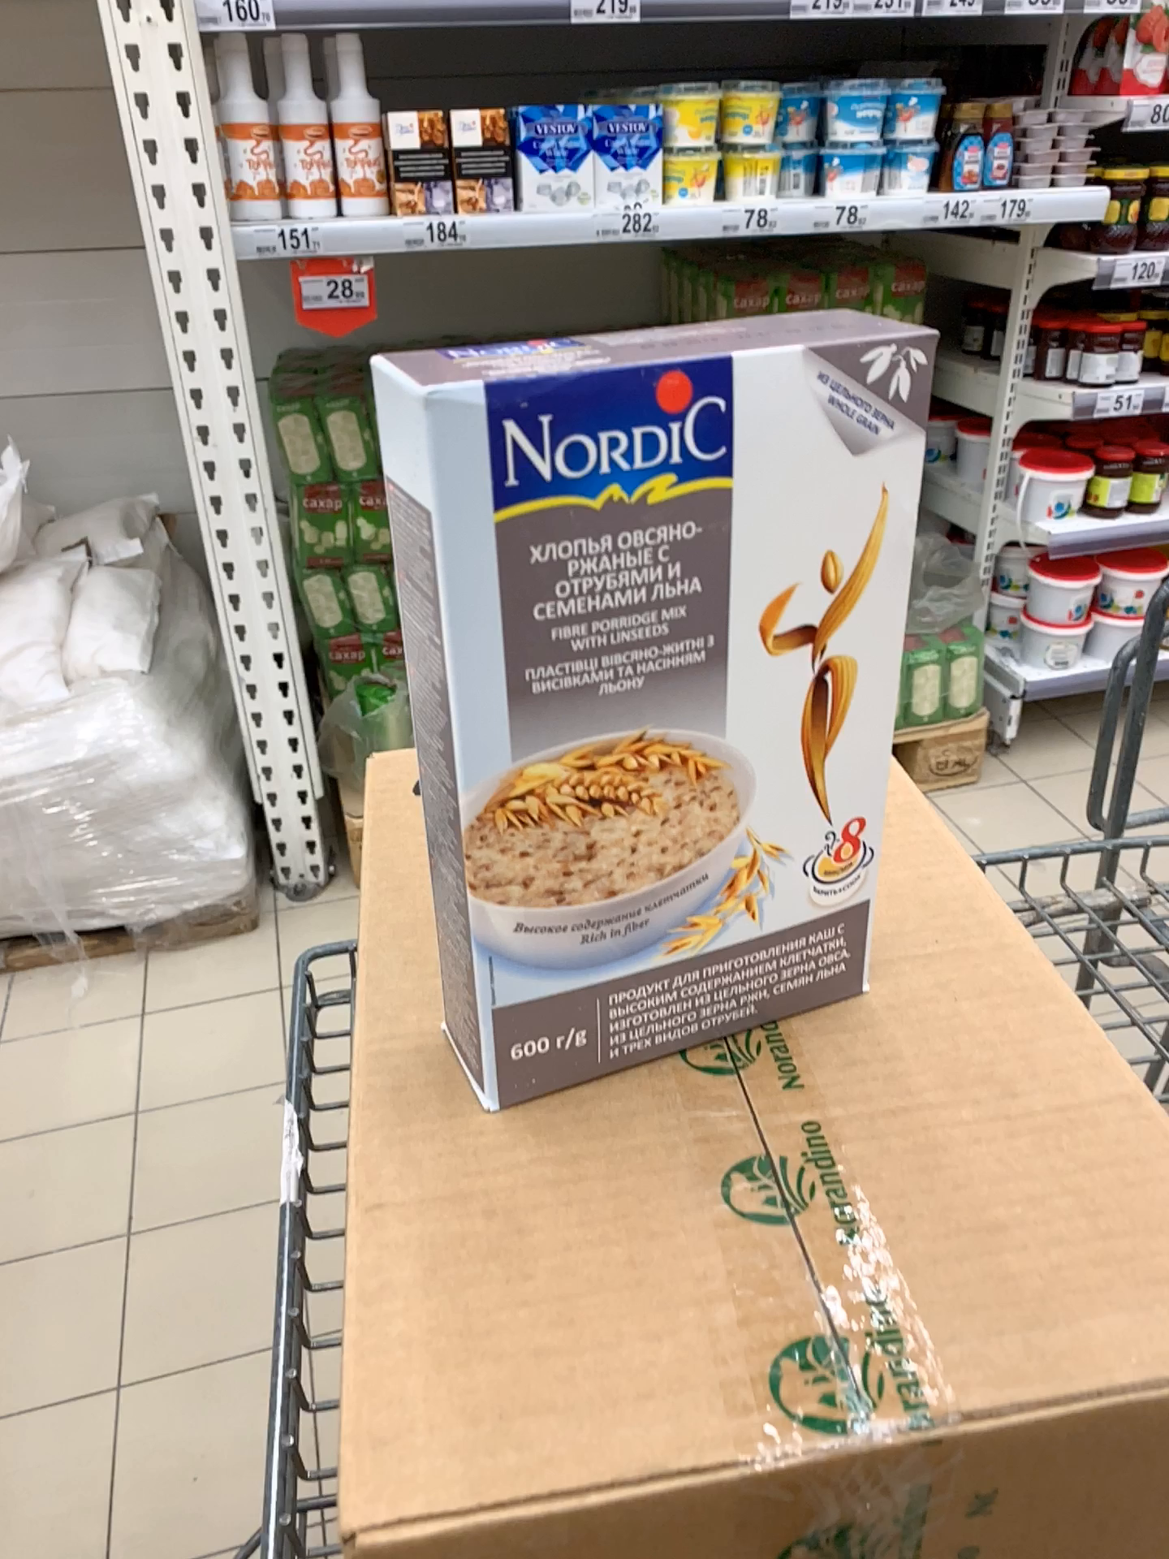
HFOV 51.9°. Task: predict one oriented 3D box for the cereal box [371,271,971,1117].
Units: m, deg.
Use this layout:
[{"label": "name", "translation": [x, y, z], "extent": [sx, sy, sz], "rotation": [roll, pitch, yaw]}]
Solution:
[{"label": "cereal box", "translation": [0.026, -0.021, 0.375], "extent": [0.150, 0.239, 0.050], "rotation": [-13, 33, -19]}]
